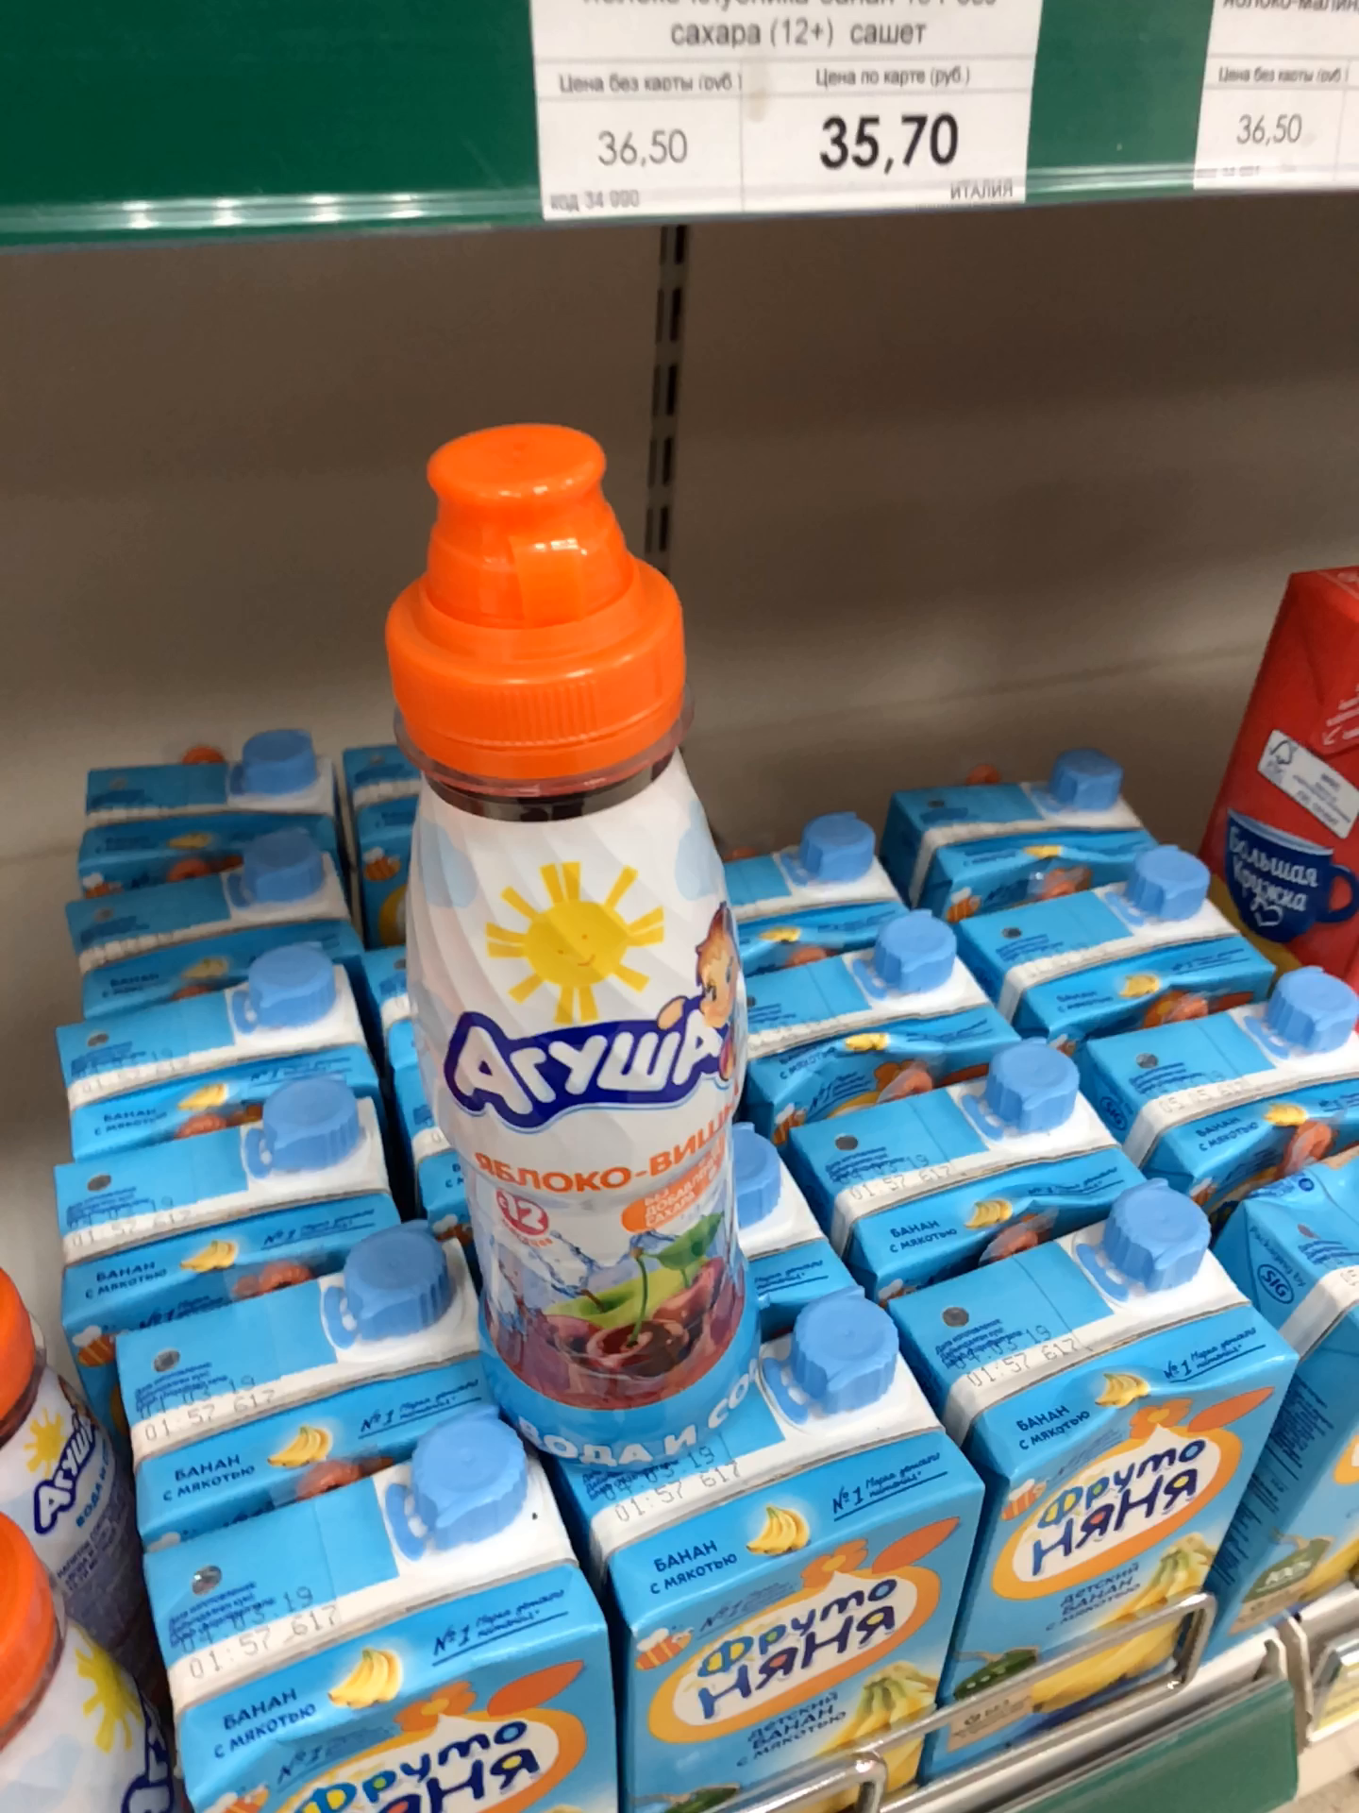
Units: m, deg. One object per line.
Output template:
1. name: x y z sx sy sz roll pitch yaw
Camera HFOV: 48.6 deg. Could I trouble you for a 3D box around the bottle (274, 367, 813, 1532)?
1. bottle: -0.016 0.018 0.254 0.054 0.190 0.056 -2 36 1
